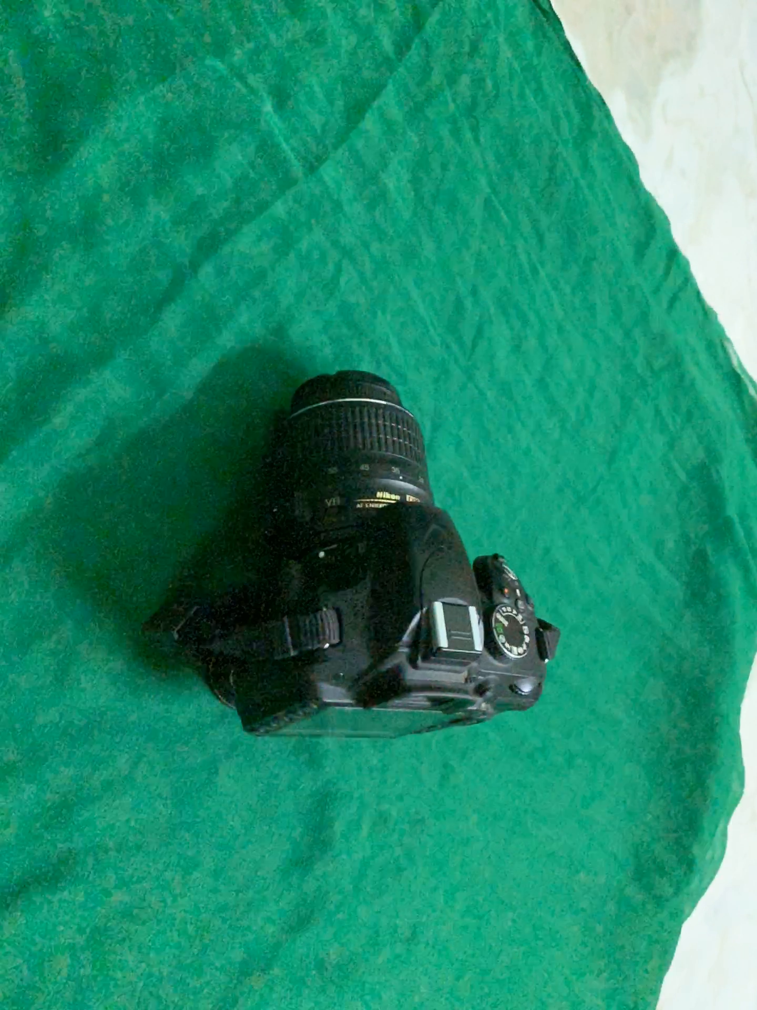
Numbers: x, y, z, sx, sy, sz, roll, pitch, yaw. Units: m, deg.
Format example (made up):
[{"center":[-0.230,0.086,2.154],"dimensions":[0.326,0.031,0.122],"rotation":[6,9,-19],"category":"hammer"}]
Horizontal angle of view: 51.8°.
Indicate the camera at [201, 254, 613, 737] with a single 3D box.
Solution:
[{"center":[0.009,0.010,0.344],"dimensions":[0.133,0.100,0.166],"rotation":[14,63,-37],"category":"camera"}]
